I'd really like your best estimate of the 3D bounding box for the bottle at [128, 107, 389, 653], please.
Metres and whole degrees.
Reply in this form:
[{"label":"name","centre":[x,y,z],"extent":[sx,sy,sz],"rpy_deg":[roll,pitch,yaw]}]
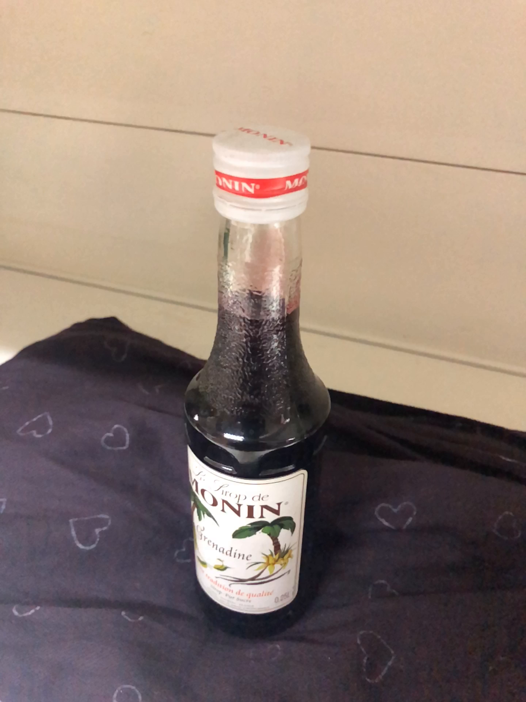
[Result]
[{"label":"bottle","centre":[-0.002,0.020,0.227],"extent":[0.060,0.199,0.060],"rpy_deg":[2,31,-1]}]
